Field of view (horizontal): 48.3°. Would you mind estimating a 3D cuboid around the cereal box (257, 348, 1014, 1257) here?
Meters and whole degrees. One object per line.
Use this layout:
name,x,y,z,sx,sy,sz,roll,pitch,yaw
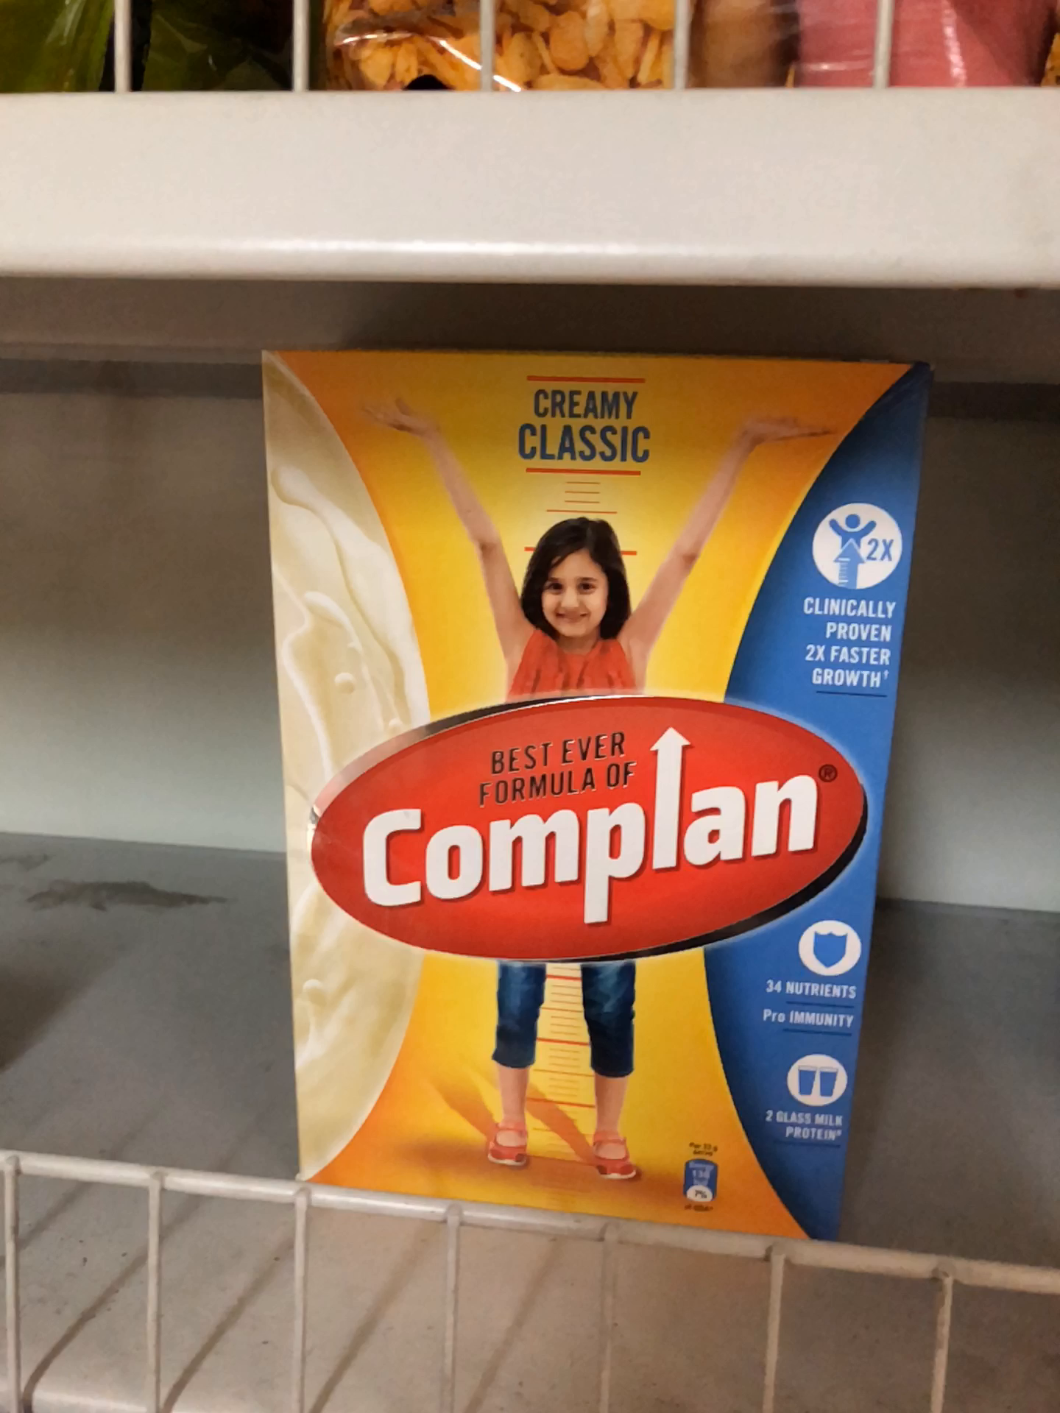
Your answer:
cereal box,0.020,0.020,0.283,0.150,0.199,0.050,3,15,9
